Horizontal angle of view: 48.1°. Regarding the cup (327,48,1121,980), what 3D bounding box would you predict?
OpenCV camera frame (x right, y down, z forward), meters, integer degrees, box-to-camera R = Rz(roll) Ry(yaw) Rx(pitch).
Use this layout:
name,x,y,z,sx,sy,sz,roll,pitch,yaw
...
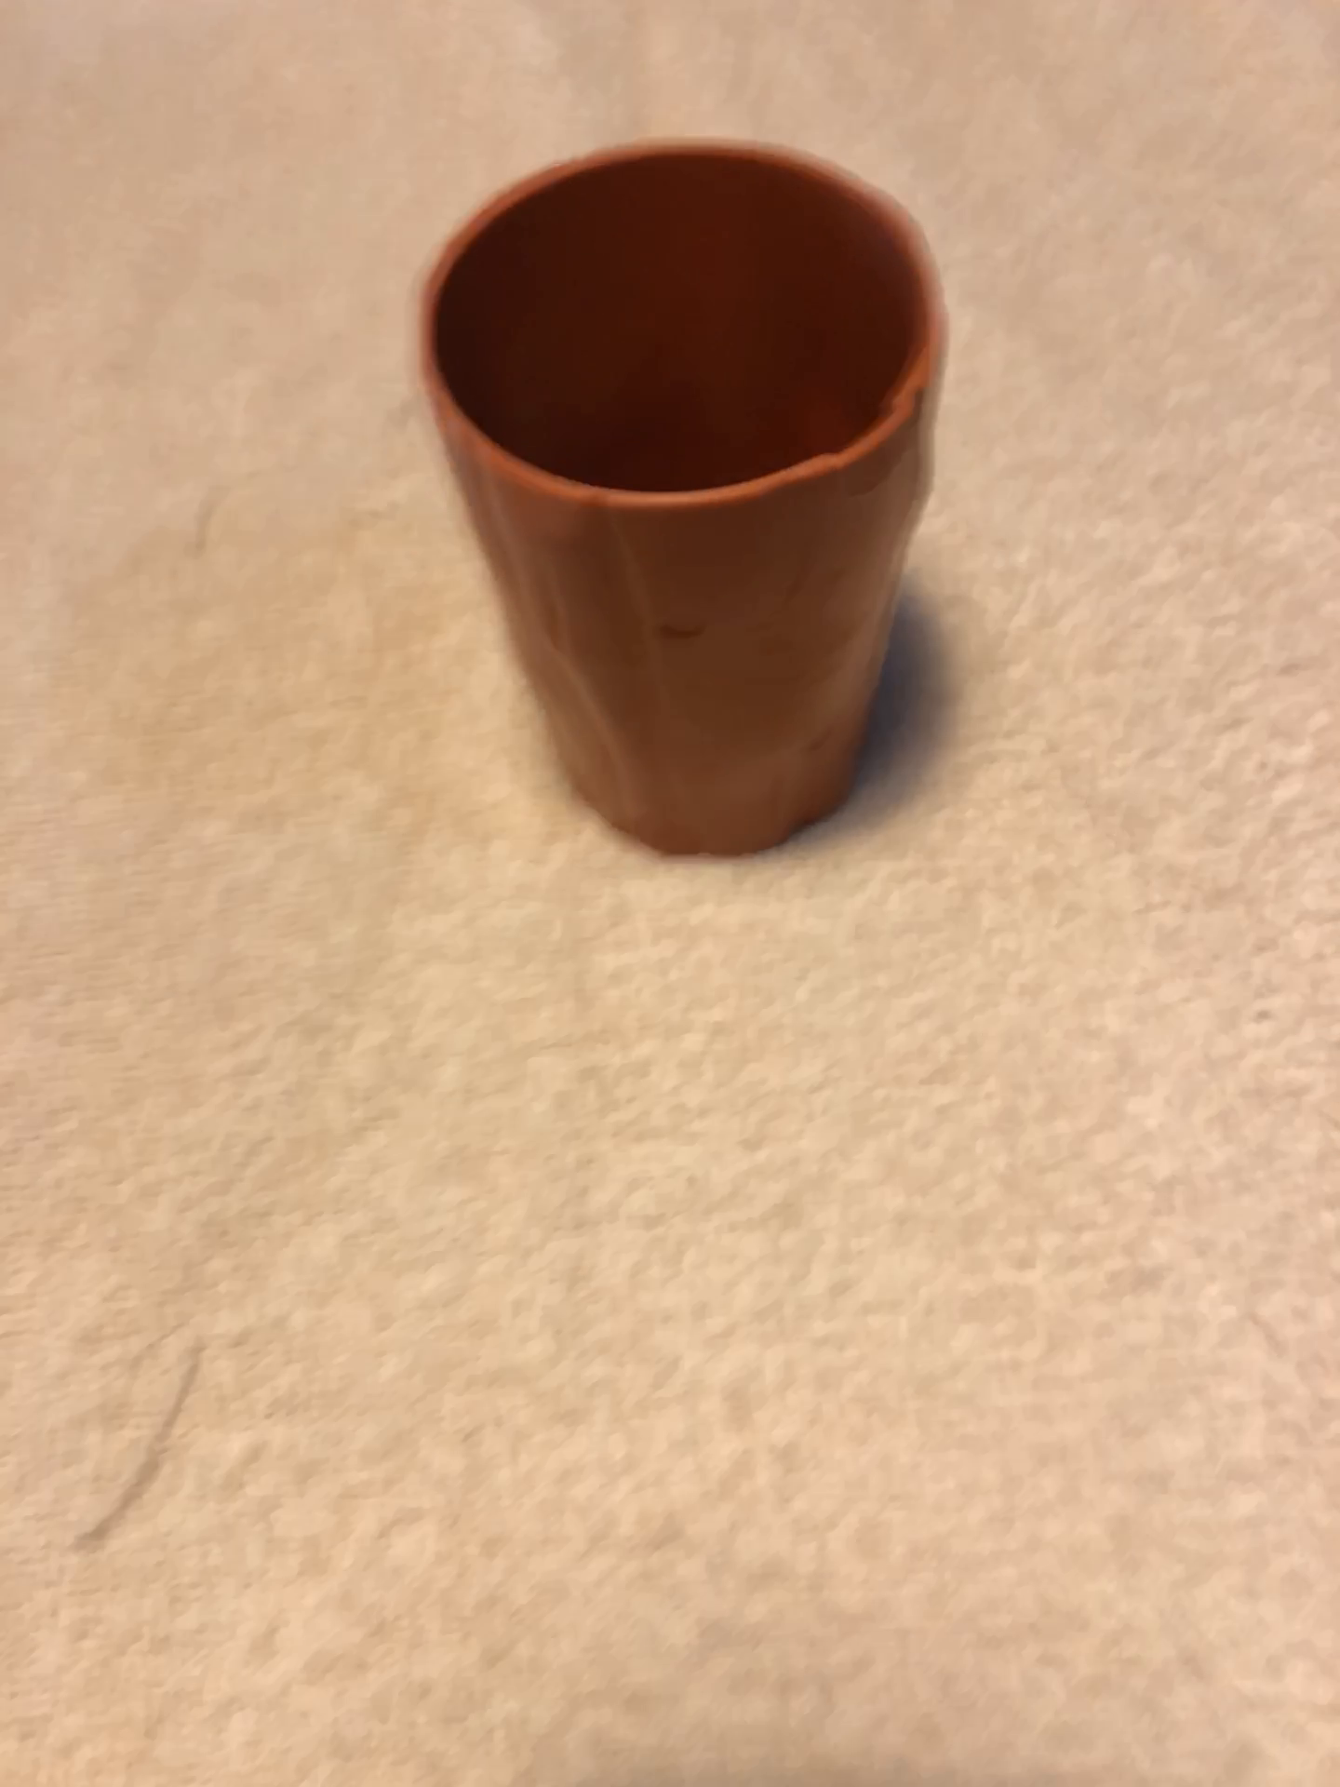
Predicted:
name,x,y,z,sx,sy,sz,roll,pitch,yaw
cup,0.008,-0.062,0.270,0.080,0.110,0.090,-32,64,-13
